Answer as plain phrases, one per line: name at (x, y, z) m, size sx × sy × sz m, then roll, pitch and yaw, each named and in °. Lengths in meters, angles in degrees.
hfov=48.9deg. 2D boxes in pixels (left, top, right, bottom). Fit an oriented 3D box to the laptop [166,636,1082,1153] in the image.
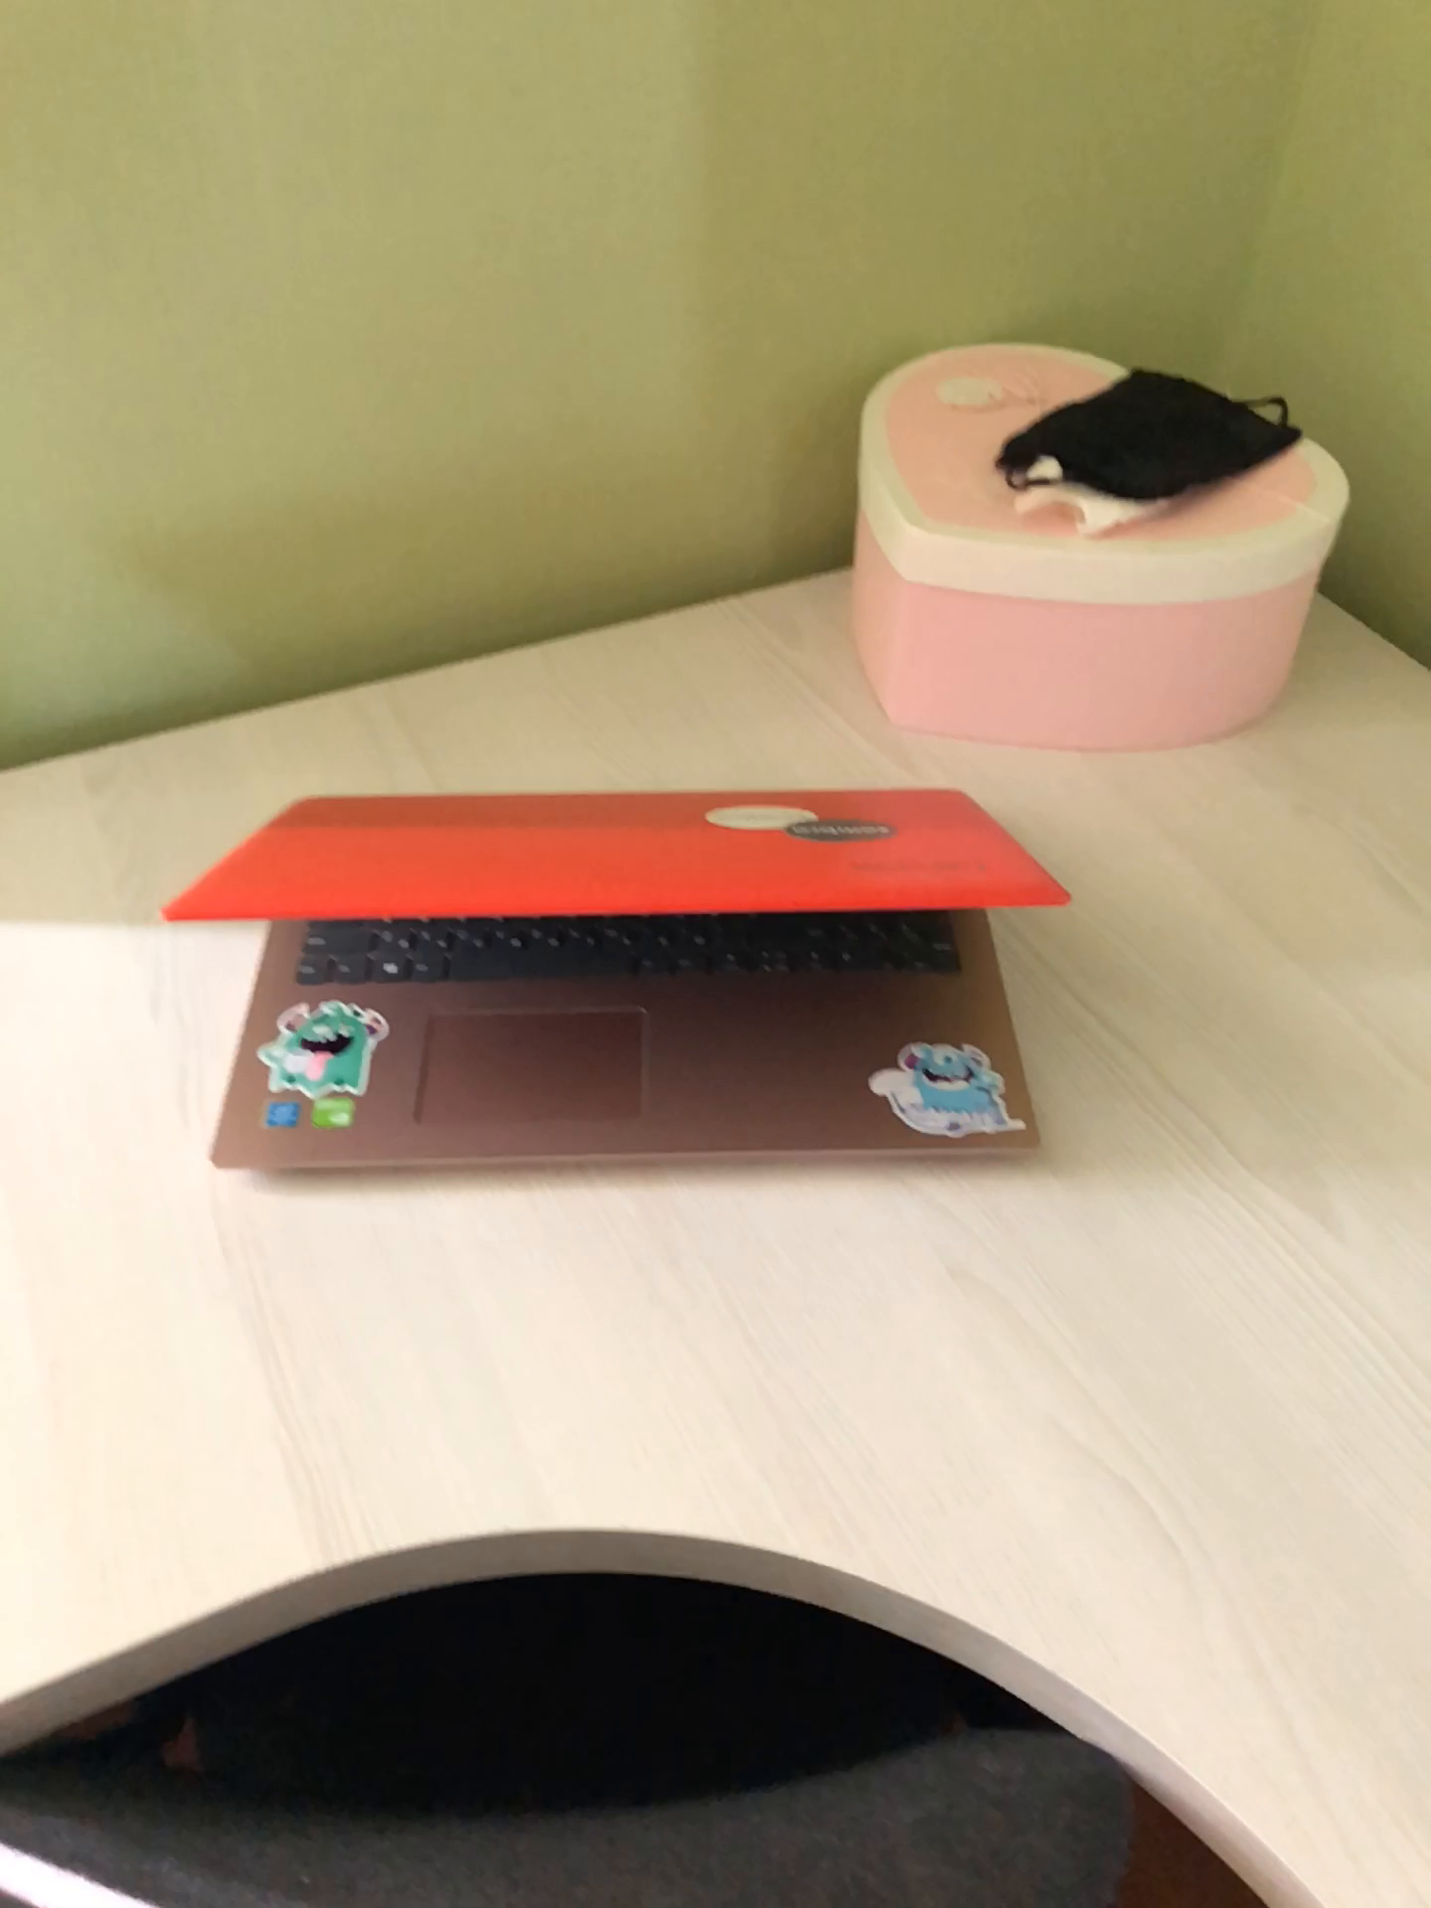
laptop at (-0.040, -0.036, 0.751) m, size 0.366 × 0.112 × 0.233 m, roll -1°, pitch 45°, yaw -1°
